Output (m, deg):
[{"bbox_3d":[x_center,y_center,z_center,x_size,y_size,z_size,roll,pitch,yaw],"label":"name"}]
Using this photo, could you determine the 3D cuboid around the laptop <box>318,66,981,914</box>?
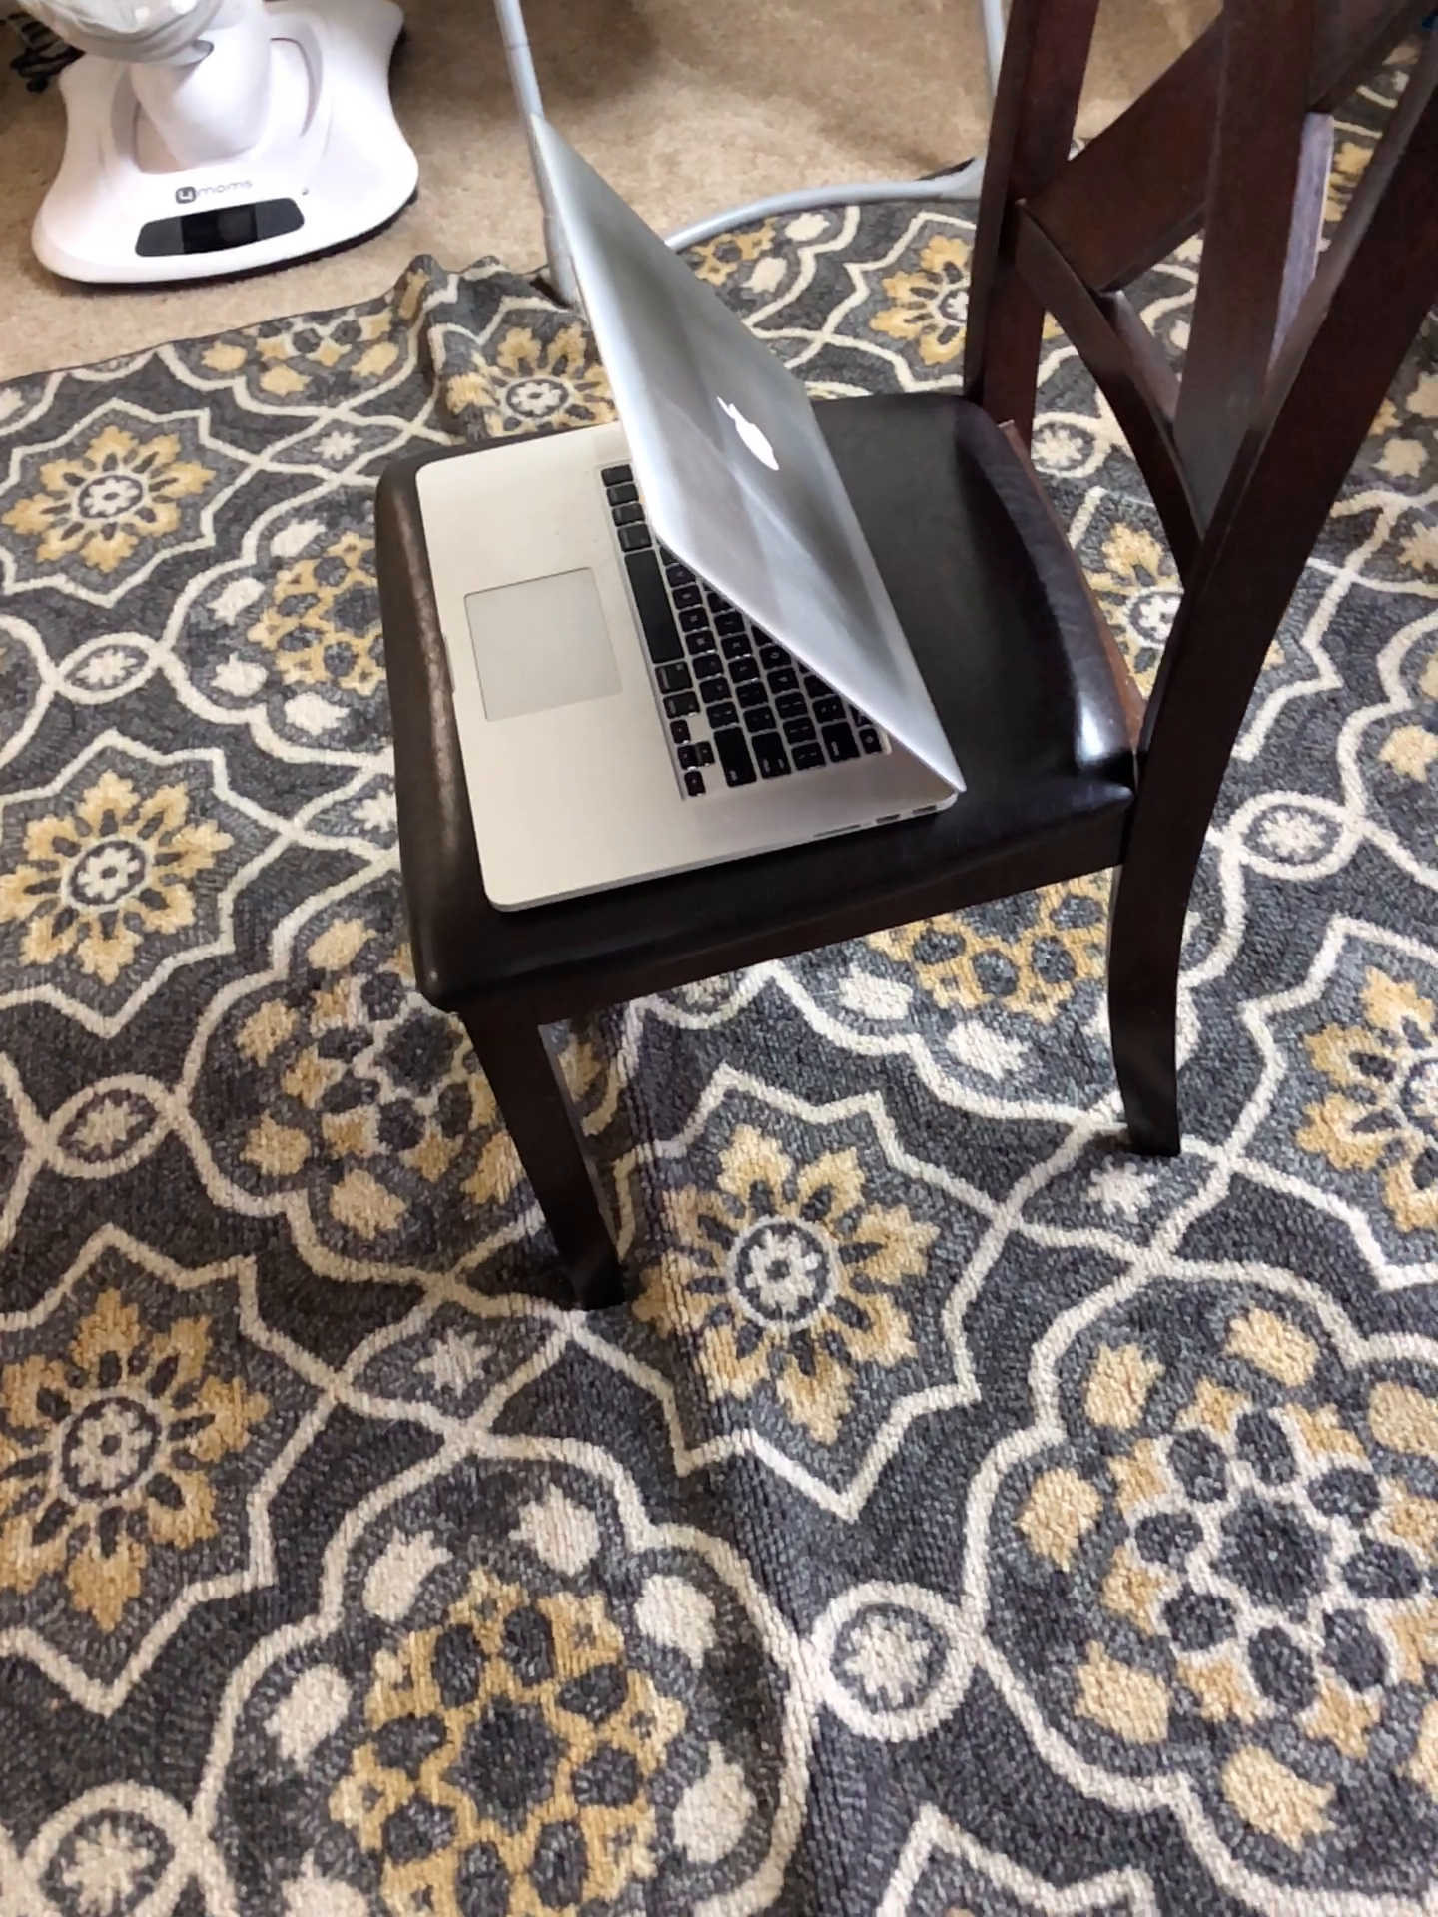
[{"bbox_3d":[-0.042,-0.243,0.797,0.237,0.200,0.352,-14,55,-3],"label":"laptop"}]
